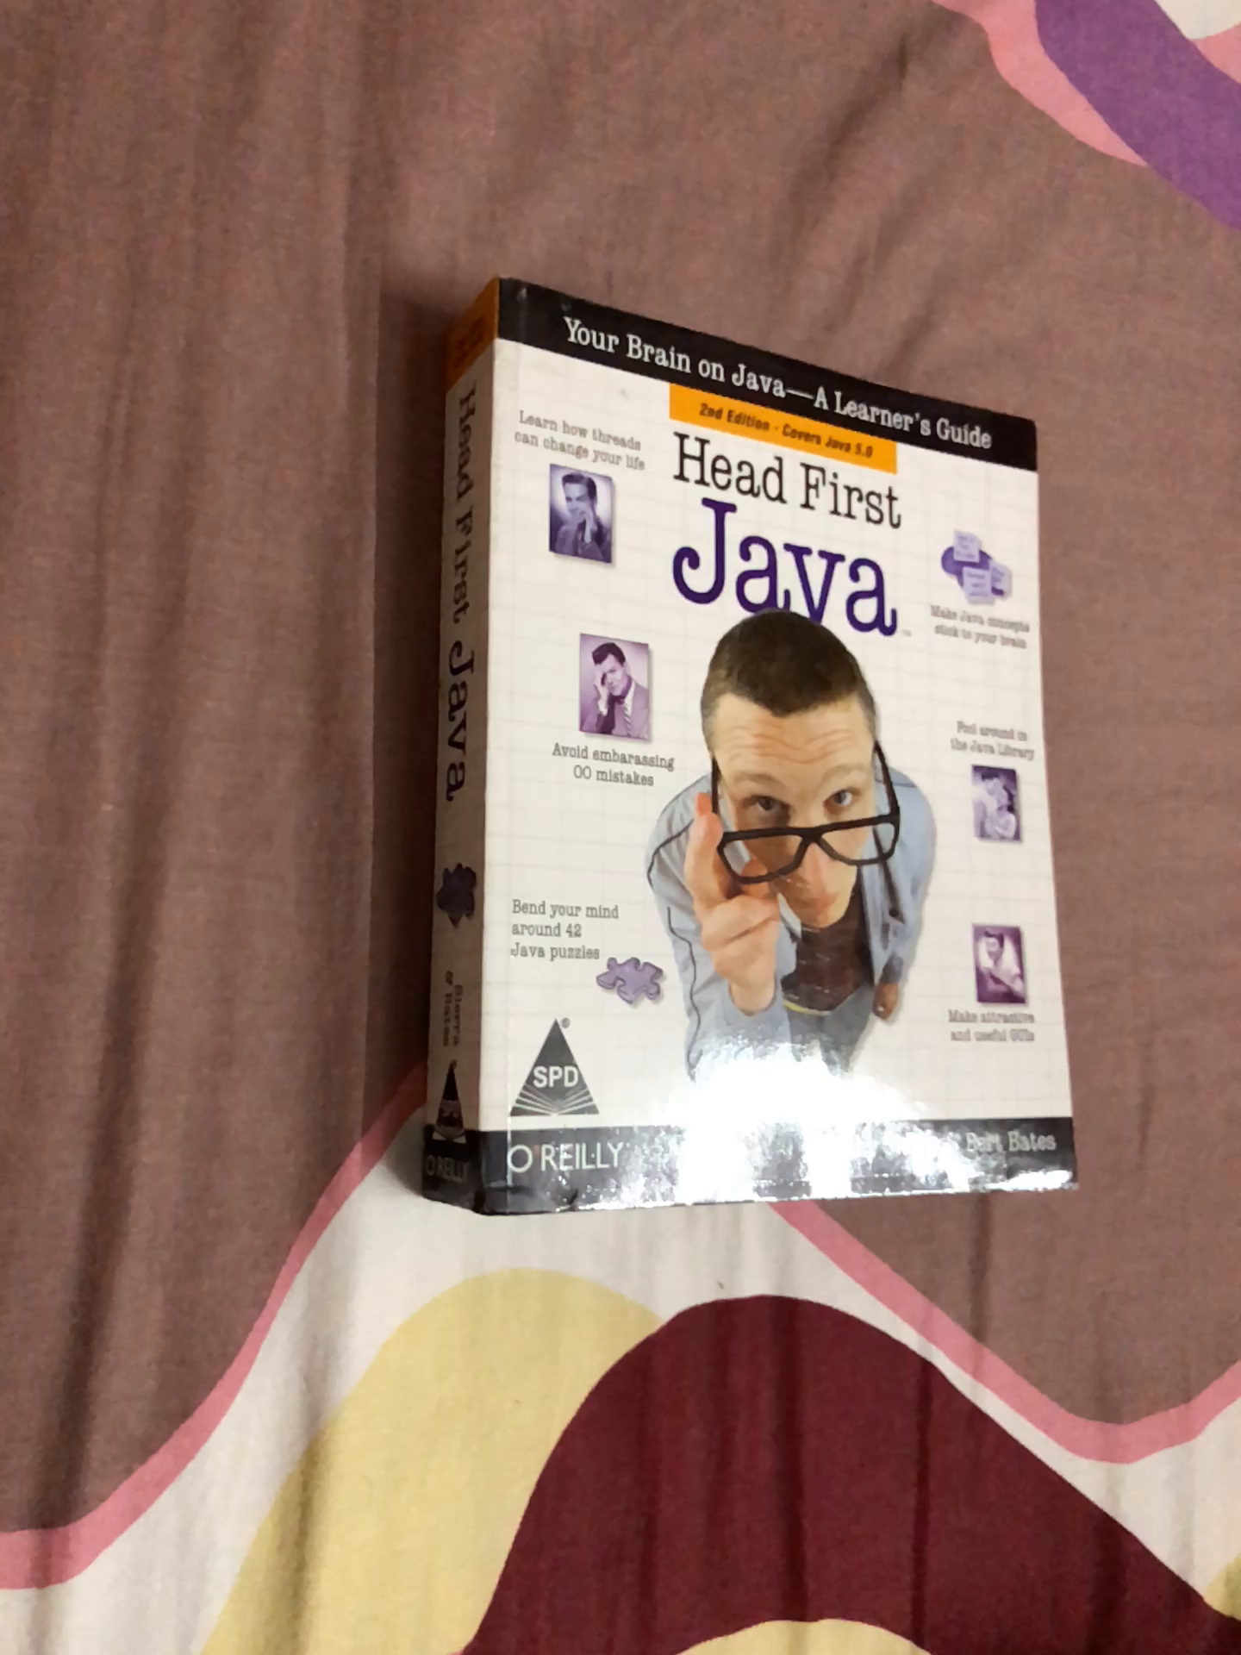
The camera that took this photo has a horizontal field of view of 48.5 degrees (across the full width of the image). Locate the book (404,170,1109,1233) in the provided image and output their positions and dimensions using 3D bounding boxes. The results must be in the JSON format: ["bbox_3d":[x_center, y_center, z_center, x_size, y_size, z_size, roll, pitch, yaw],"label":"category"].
[{"bbox_3d":[0.042,-0.027,0.391,0.191,0.050,0.260,5,79,-26],"label":"book"}]
